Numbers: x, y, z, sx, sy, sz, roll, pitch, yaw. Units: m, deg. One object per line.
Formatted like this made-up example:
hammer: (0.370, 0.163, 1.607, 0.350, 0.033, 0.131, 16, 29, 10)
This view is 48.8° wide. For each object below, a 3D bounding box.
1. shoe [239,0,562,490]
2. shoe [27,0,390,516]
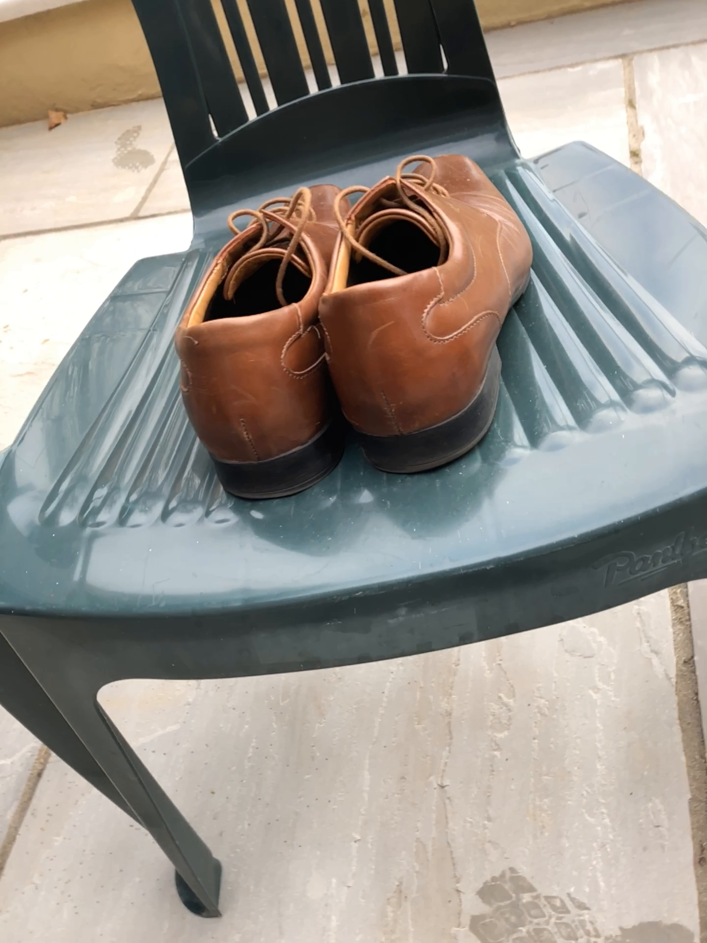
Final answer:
shoe: (0.039, -0.139, 0.404, 0.110, 0.109, 0.282, -5, 49, 15)
shoe: (-0.050, -0.131, 0.421, 0.110, 0.109, 0.292, -7, 49, 13)
